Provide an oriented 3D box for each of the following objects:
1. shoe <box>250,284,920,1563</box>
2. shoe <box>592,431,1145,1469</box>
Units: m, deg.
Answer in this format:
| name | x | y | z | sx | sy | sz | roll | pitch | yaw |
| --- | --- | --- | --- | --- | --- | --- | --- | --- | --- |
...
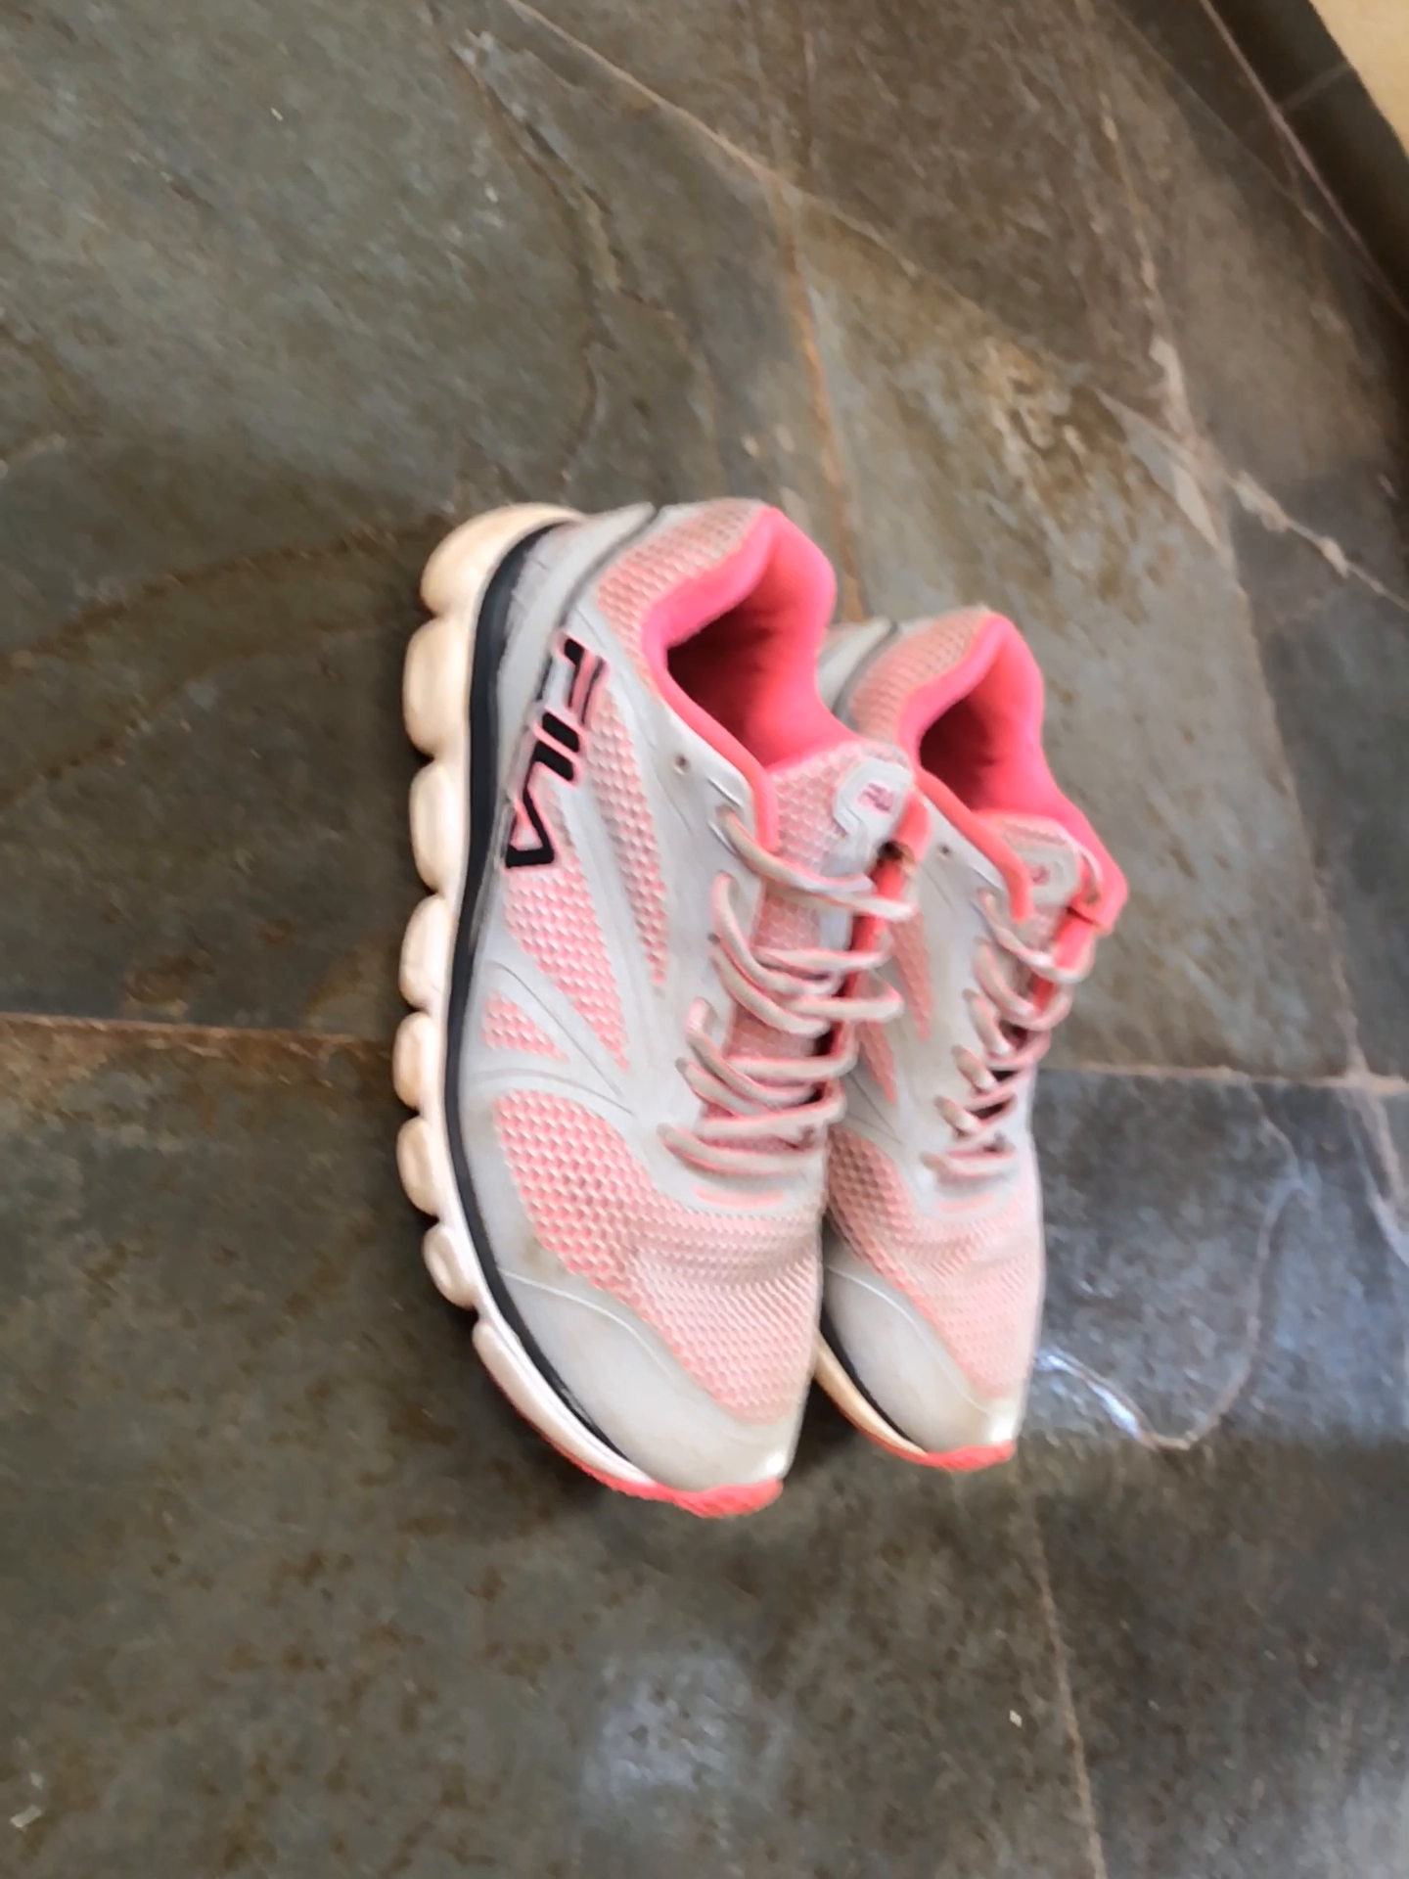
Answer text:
| name | x | y | z | sx | sy | sz | roll | pitch | yaw |
| --- | --- | --- | --- | --- | --- | --- | --- | --- | --- |
| shoe | -0.036 | 0.000 | 0.402 | 0.111 | 0.099 | 0.281 | 8 | 70 | -46 |
| shoe | 0.046 | 0.009 | 0.494 | 0.111 | 0.099 | 0.291 | 12 | 68 | -45 |
